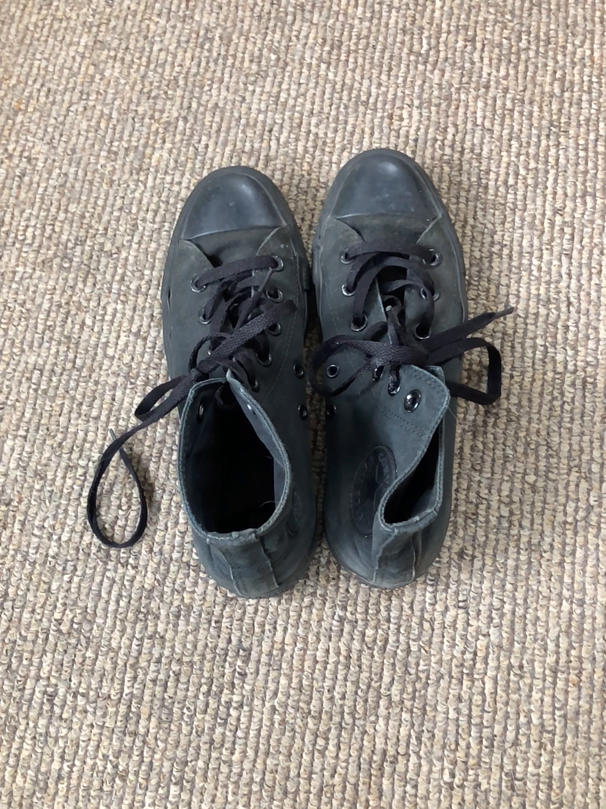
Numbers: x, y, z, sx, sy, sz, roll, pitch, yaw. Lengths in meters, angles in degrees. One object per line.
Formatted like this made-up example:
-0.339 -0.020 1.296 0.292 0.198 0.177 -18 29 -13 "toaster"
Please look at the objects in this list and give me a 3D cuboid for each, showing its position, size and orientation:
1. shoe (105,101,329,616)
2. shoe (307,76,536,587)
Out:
-0.039 -0.016 0.360 0.088 0.127 0.236 -4 75 2 "shoe"
0.051 -0.028 0.364 0.088 0.127 0.243 -1 75 3 "shoe"
